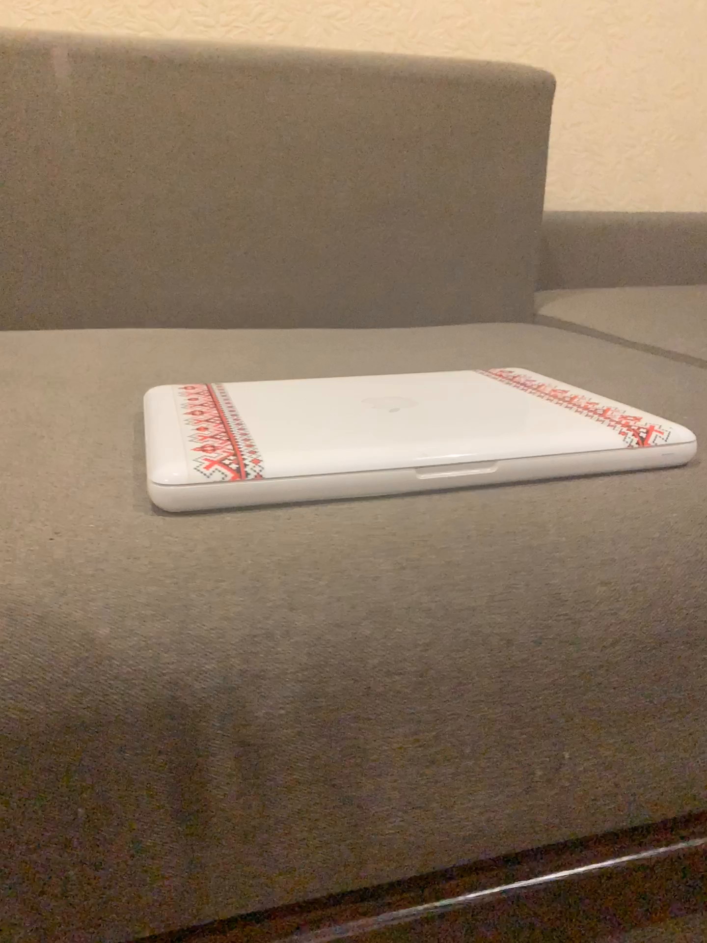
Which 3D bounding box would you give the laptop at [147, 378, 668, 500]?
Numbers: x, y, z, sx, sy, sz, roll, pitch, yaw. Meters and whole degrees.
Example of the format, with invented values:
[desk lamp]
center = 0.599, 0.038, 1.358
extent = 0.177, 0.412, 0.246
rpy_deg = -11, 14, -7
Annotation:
[laptop]
center = 0.020, -0.036, 0.528
extent = 0.324, 0.003, 0.223
rpy_deg = -5, 20, -17
